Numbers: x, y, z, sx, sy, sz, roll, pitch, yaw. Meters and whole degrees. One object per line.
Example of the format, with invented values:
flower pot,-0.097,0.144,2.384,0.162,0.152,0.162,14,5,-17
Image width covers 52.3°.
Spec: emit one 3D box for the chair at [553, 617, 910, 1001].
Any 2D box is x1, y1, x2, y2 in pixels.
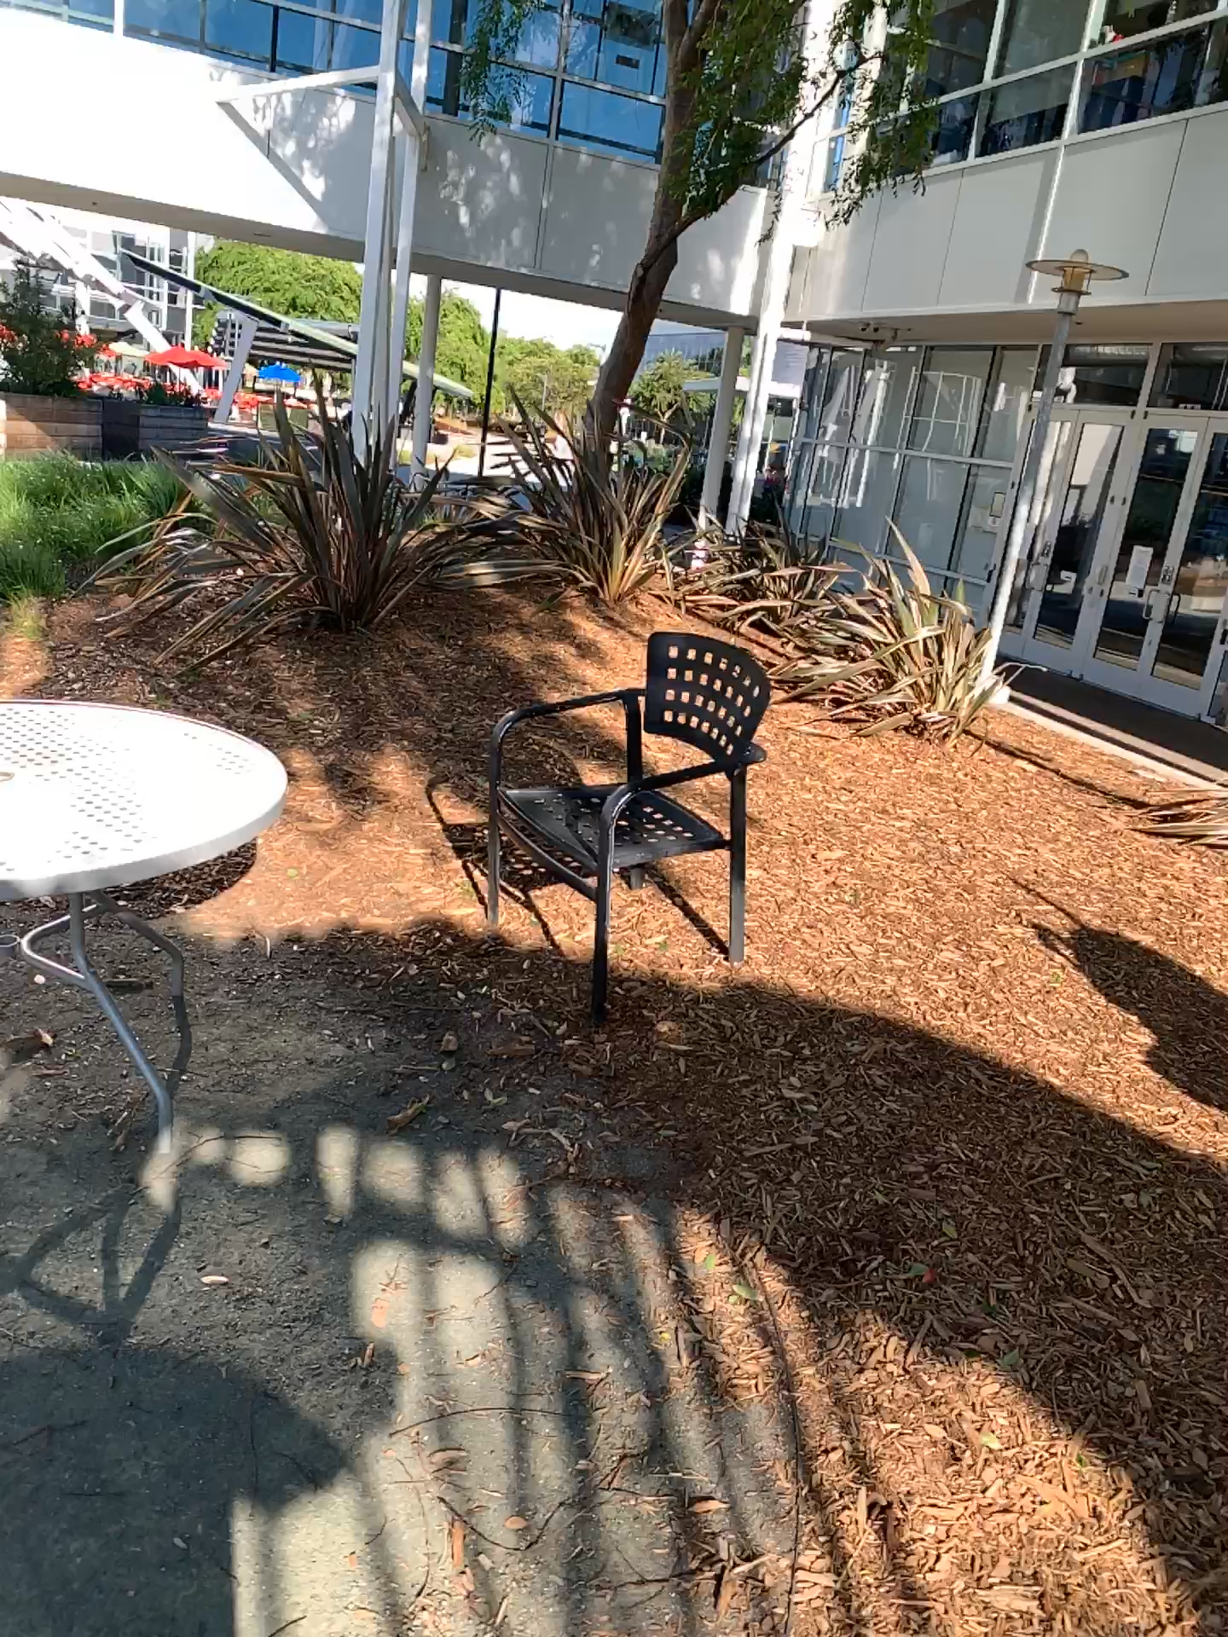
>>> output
chair,0.246,-0.047,2.891,0.500,0.717,0.522,-2,20,-32
